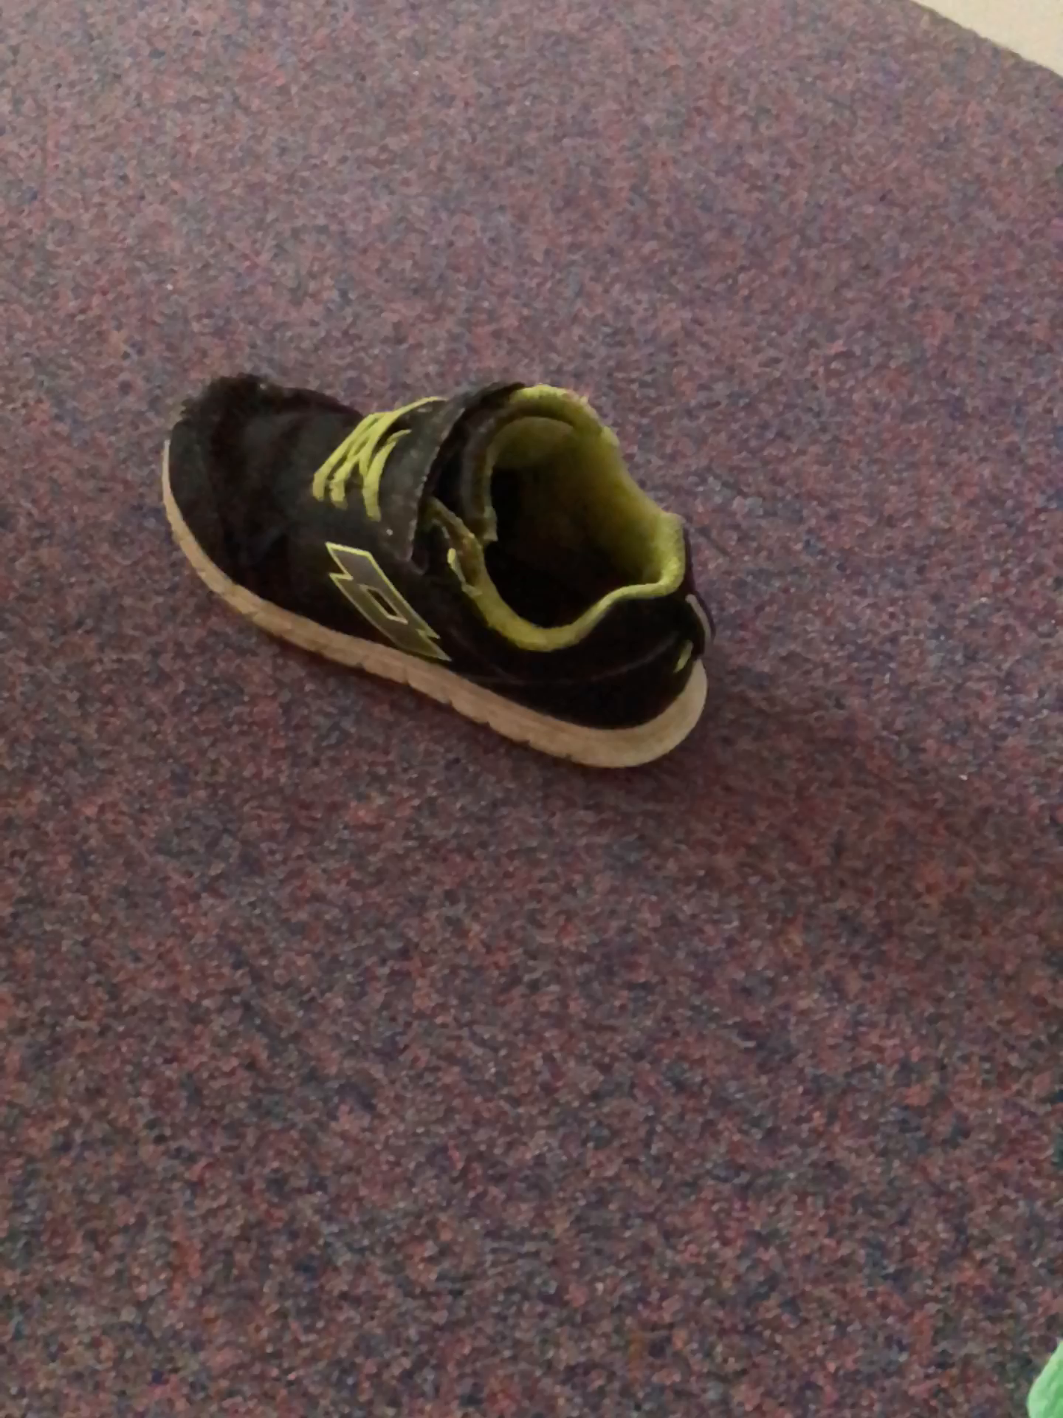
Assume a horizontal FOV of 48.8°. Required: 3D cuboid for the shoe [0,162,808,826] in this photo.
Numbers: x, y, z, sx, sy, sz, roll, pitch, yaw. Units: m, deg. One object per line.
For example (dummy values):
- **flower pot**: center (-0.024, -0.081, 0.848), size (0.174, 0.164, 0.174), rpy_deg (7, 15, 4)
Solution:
- **shoe**: center (-0.042, -0.070, 0.376), size (0.220, 0.100, 0.090), rpy_deg (26, 60, 11)
